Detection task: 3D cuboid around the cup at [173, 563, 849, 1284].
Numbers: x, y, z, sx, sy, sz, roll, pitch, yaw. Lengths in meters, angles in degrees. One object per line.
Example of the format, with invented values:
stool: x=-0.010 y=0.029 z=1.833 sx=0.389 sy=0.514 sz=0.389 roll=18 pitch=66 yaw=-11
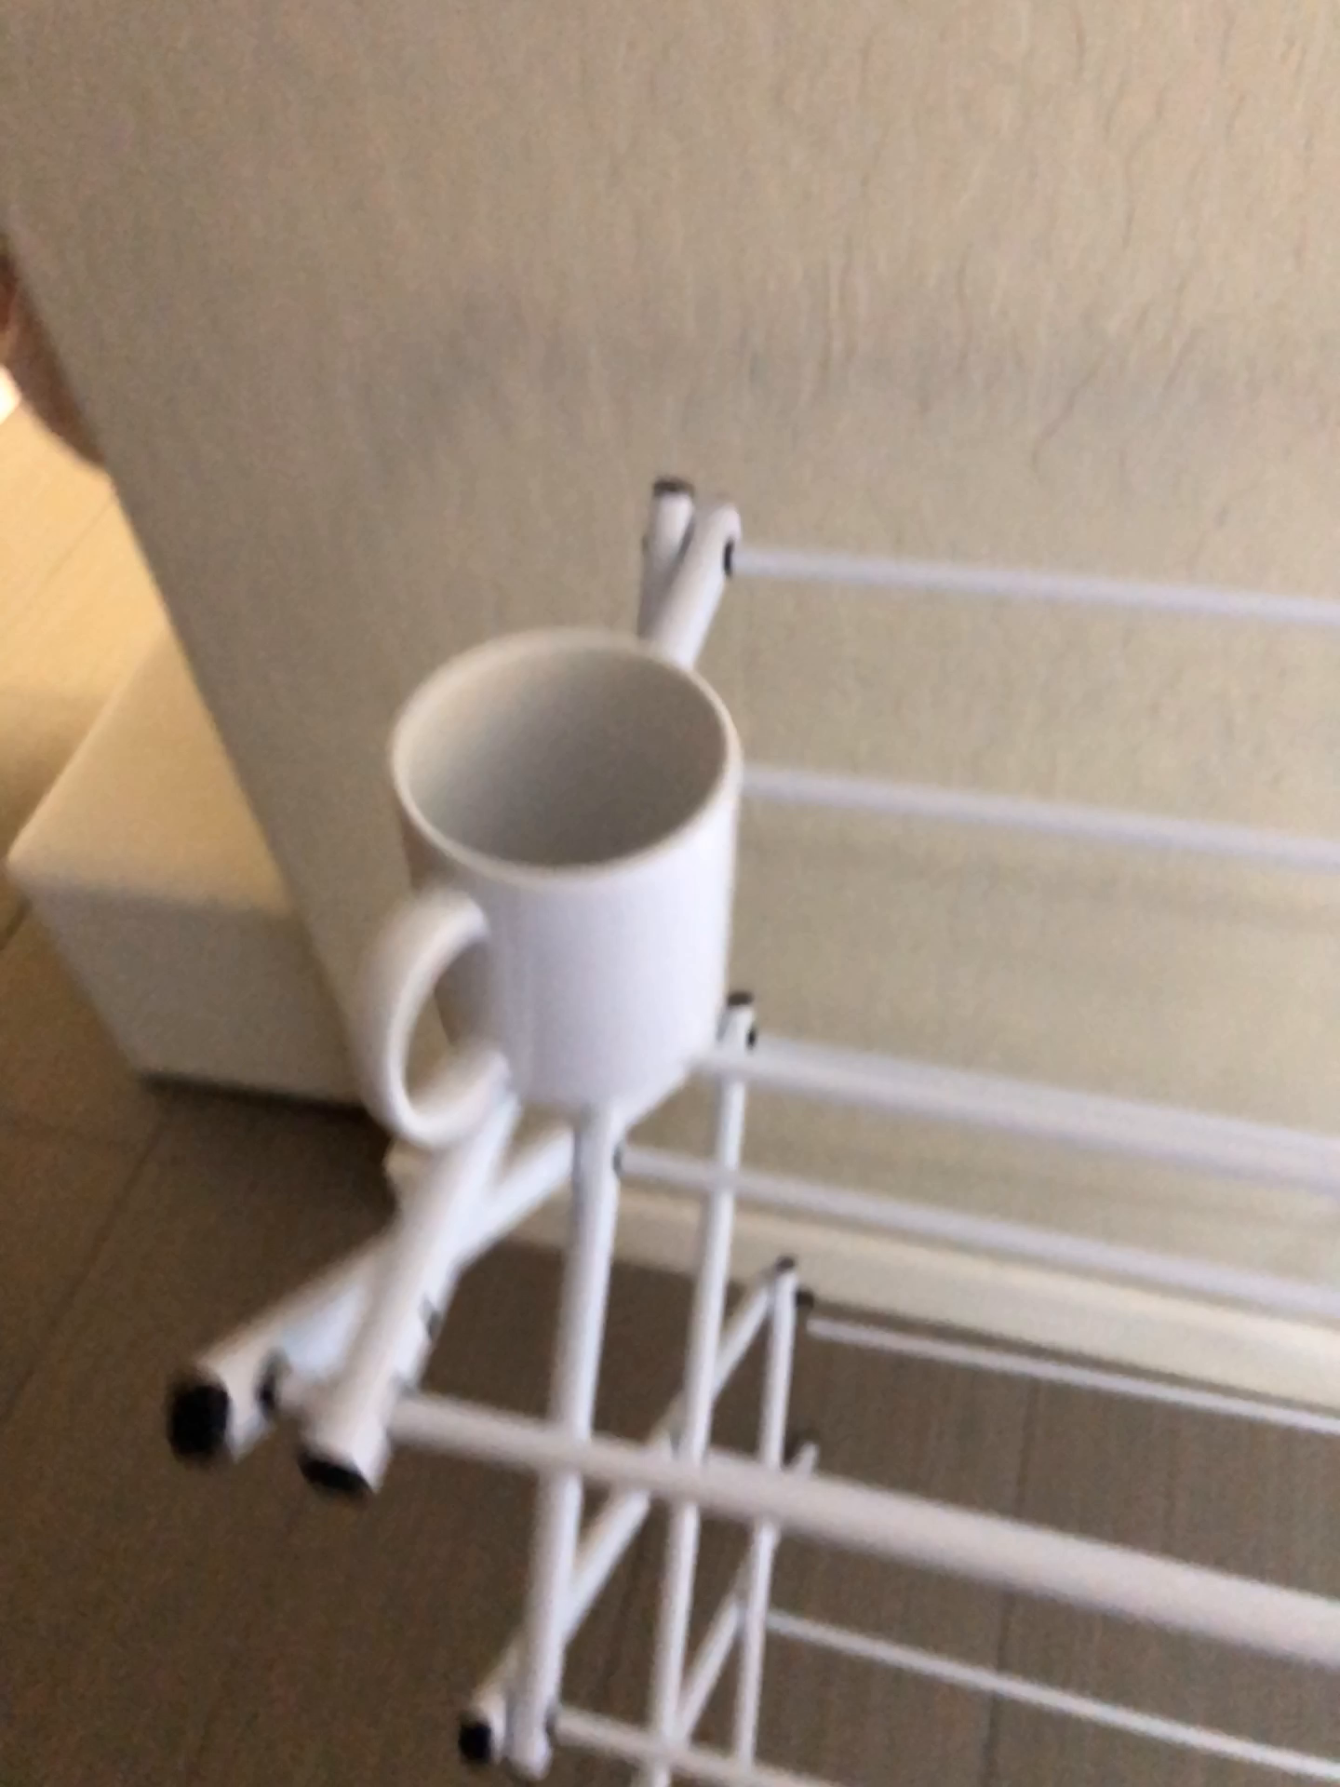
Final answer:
cup: x=-0.032 y=0.003 z=0.374 sx=0.090 sy=0.090 sz=0.130 roll=29 pitch=56 yaw=22
